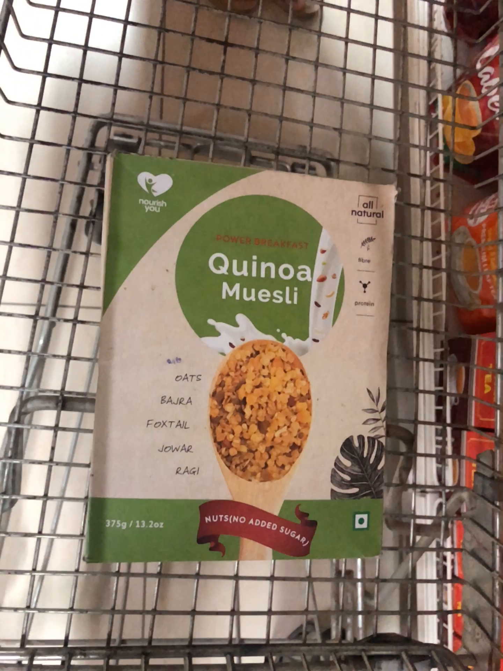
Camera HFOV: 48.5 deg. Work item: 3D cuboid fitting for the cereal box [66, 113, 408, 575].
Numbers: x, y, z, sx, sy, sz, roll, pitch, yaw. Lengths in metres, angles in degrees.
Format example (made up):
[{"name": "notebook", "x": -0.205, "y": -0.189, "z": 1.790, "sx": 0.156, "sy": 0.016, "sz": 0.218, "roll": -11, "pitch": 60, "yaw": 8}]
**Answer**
[{"name": "cereal box", "x": -0.007, "y": 0.007, "z": 0.302, "sx": 0.160, "sy": 0.060, "sz": 0.210, "roll": 3, "pitch": 87, "yaw": -14}]
